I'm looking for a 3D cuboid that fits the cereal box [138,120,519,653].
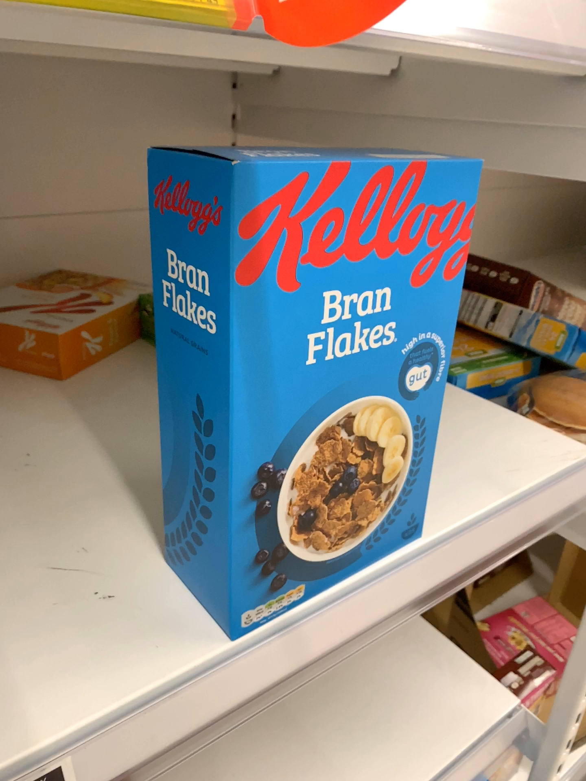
[{"bbox_3d":[0.022,-0.013,0.408,0.211,0.297,0.090,-16,31,-36],"label":"cereal box"}]
